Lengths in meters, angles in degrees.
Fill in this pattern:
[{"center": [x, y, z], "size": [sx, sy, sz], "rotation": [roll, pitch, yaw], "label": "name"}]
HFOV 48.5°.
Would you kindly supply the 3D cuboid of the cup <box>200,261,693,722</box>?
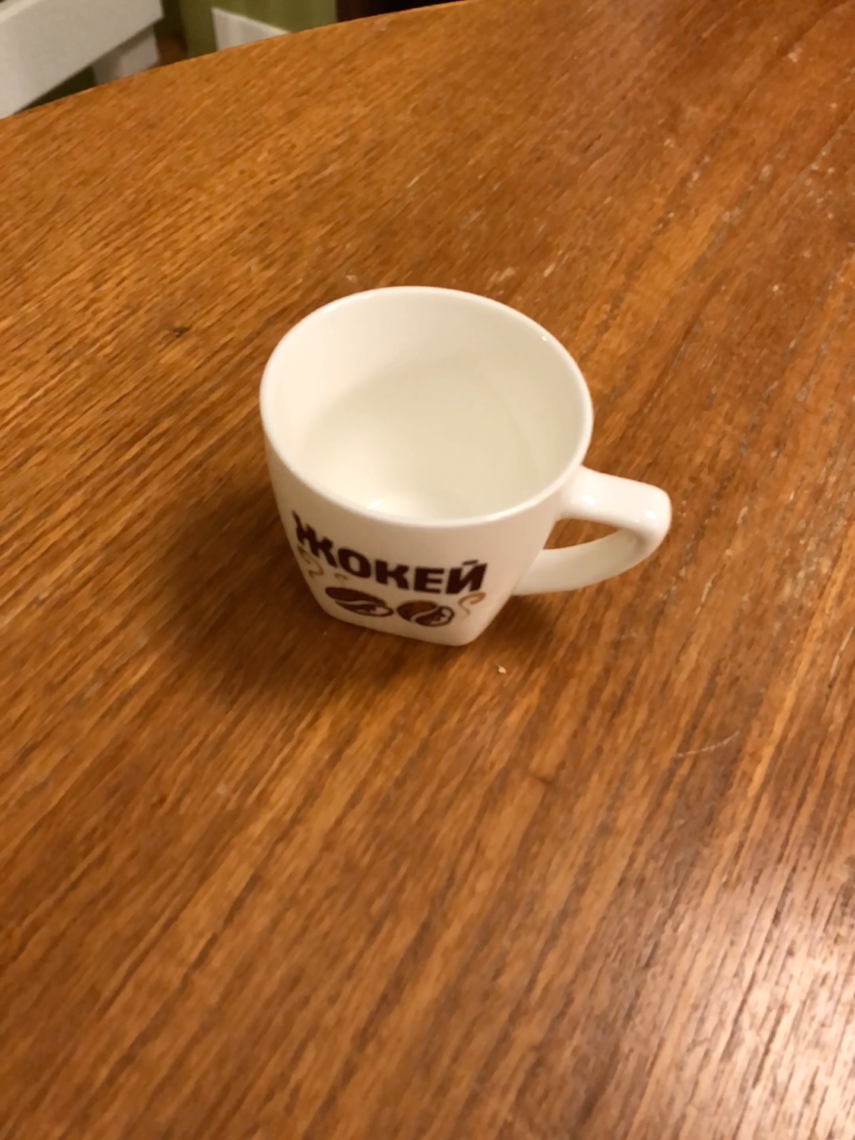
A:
[{"center": [0.006, -0.016, 0.189], "size": [0.075, 0.047, 0.060], "rotation": [14, 56, 7], "label": "cup"}]
